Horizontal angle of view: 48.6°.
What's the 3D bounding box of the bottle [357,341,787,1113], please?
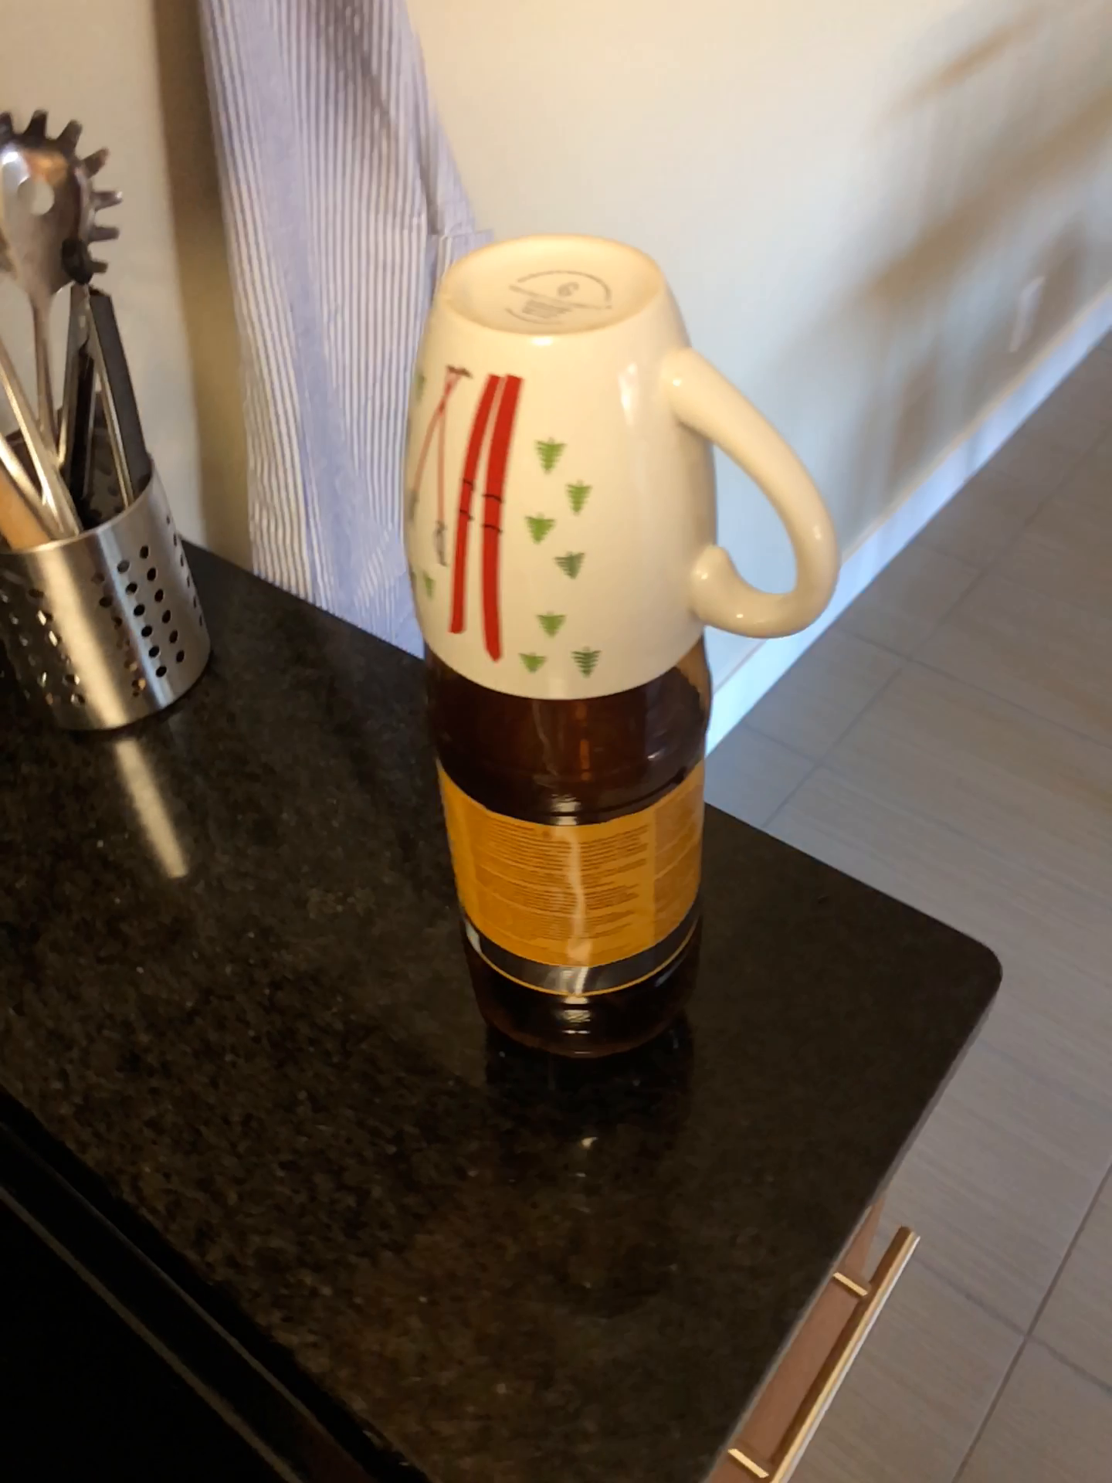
[{"bbox_3d":[0.008,0.010,0.469,0.100,0.279,0.100,-2,44,2],"label":"bottle"}]
